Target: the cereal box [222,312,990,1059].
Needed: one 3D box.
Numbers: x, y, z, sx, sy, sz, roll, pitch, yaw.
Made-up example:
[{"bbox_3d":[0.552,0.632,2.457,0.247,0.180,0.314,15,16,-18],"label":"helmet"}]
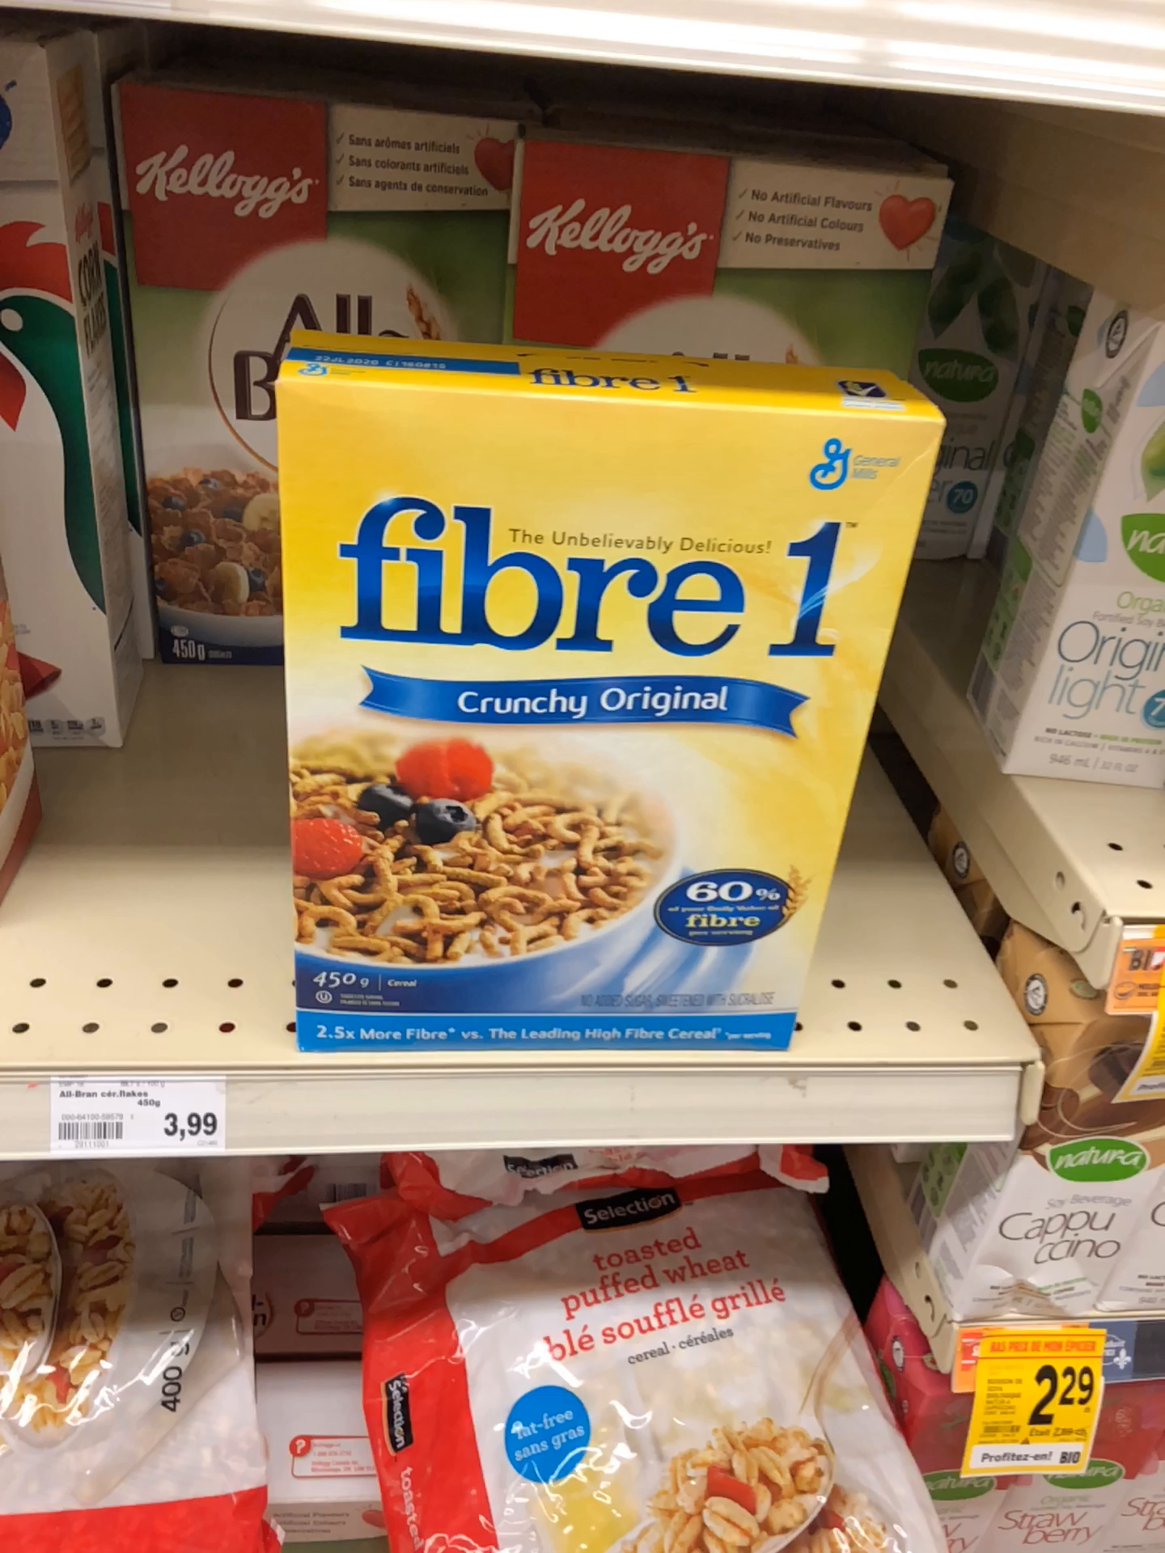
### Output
[{"bbox_3d":[-0.004,-0.016,0.439,0.210,0.248,0.060,1,33,-8],"label":"cereal box"}]
